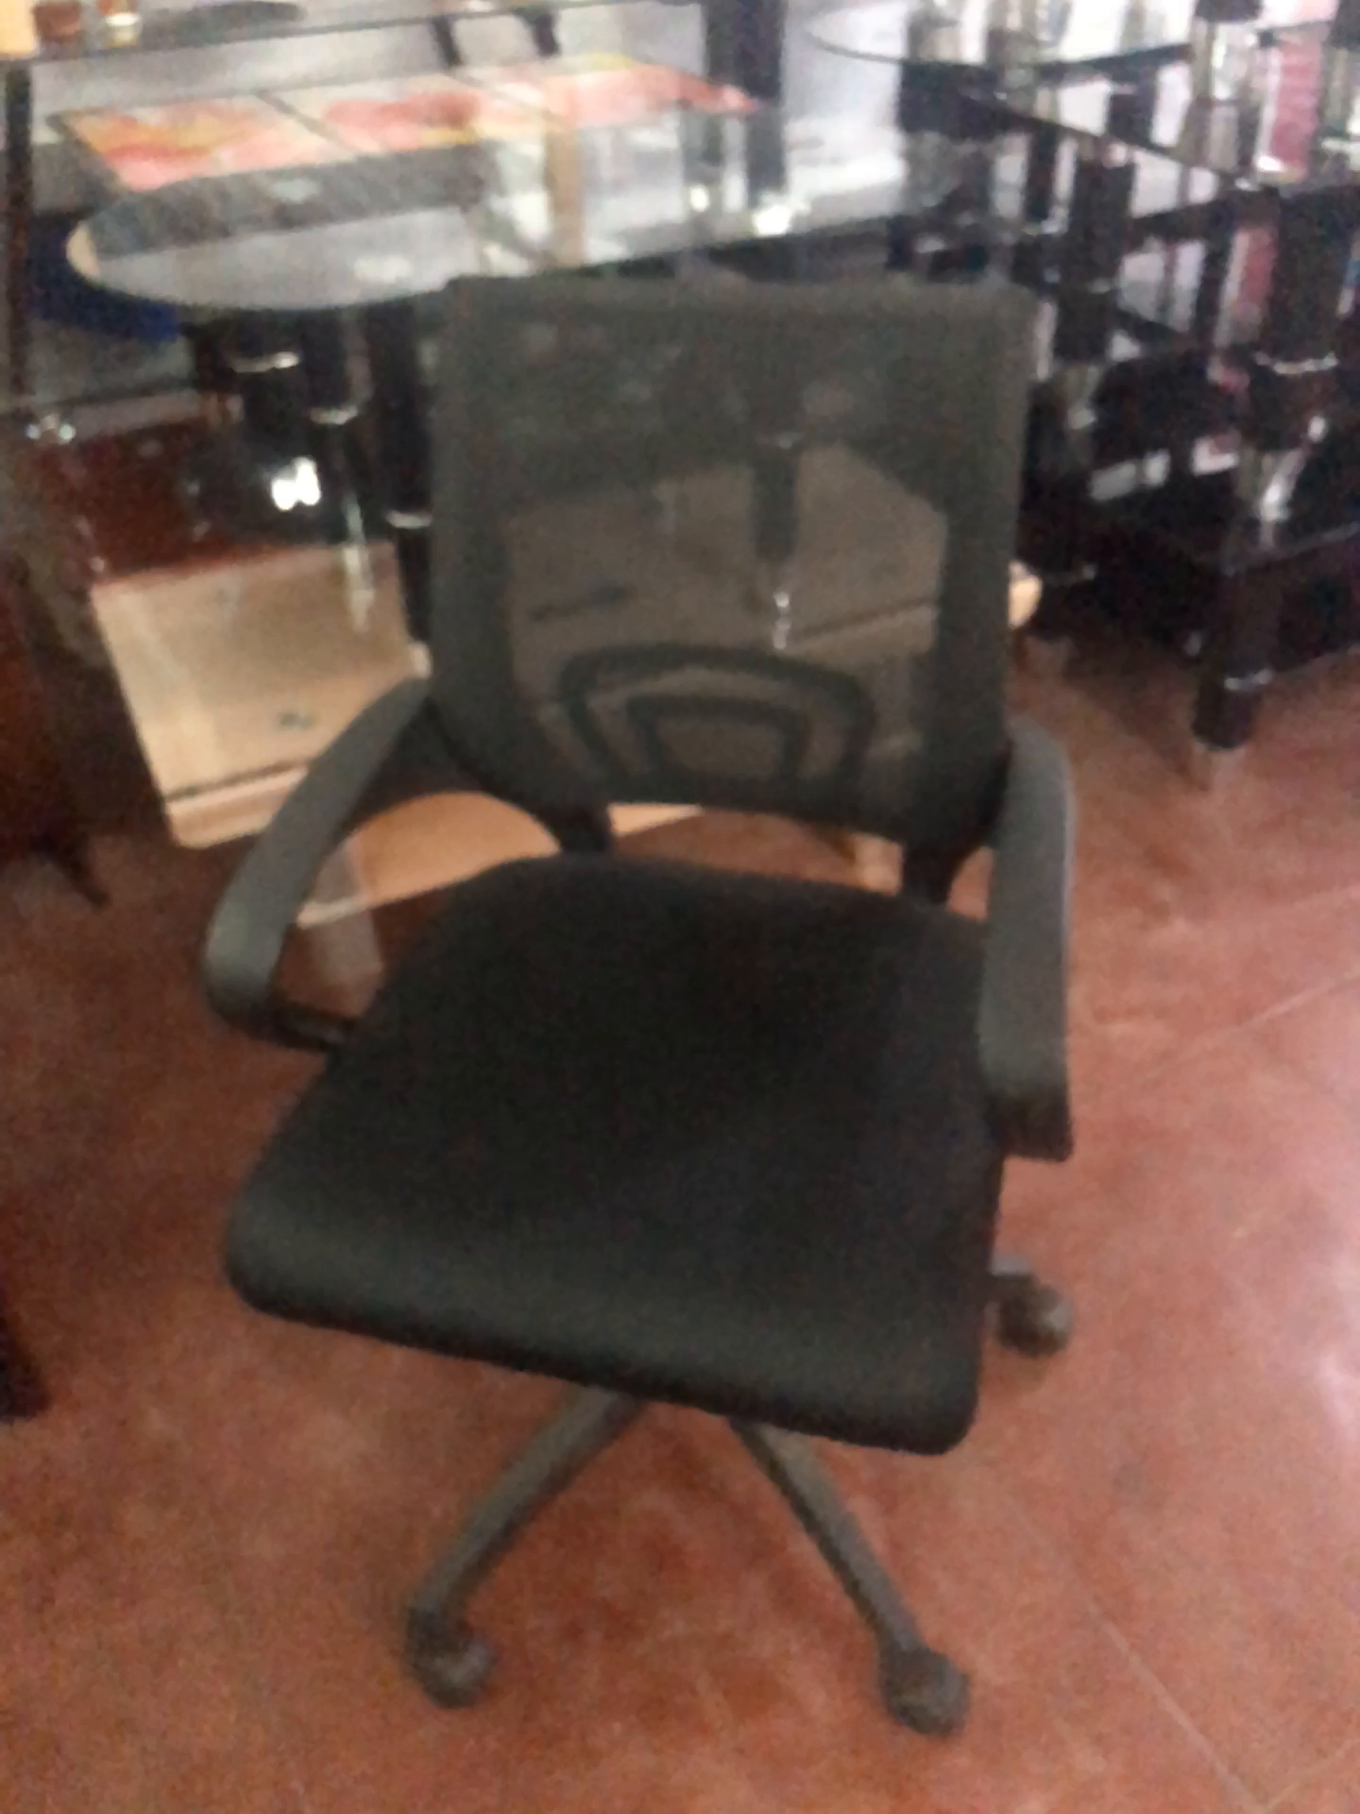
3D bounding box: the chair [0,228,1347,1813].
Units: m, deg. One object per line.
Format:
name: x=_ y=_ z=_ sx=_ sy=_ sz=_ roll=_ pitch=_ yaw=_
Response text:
chair: x=-0.045 y=0.083 z=1.125 sx=0.750 sy=0.915 sz=0.633 roll=8 pitch=39 yaw=12
